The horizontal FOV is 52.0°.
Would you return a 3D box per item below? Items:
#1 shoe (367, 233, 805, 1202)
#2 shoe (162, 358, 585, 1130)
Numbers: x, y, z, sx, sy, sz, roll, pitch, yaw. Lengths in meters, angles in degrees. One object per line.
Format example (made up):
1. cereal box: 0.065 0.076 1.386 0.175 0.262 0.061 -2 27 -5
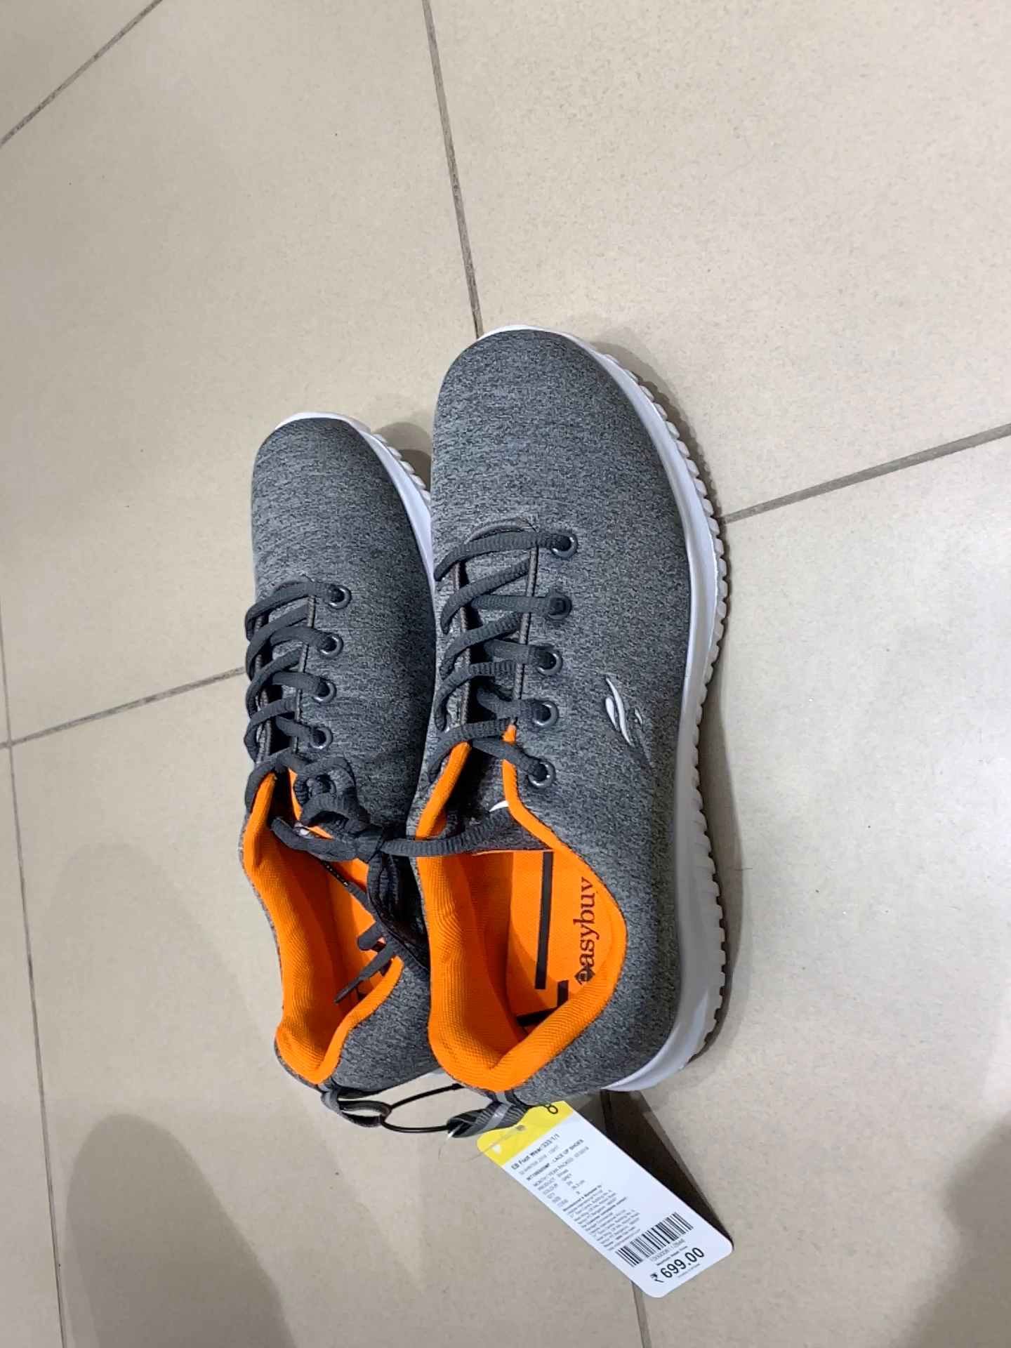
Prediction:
1. shoe: 0.028 0.014 0.384 0.100 0.090 0.300 -10 82 34
2. shoe: -0.058 0.030 0.434 0.100 0.090 0.280 -17 79 33
